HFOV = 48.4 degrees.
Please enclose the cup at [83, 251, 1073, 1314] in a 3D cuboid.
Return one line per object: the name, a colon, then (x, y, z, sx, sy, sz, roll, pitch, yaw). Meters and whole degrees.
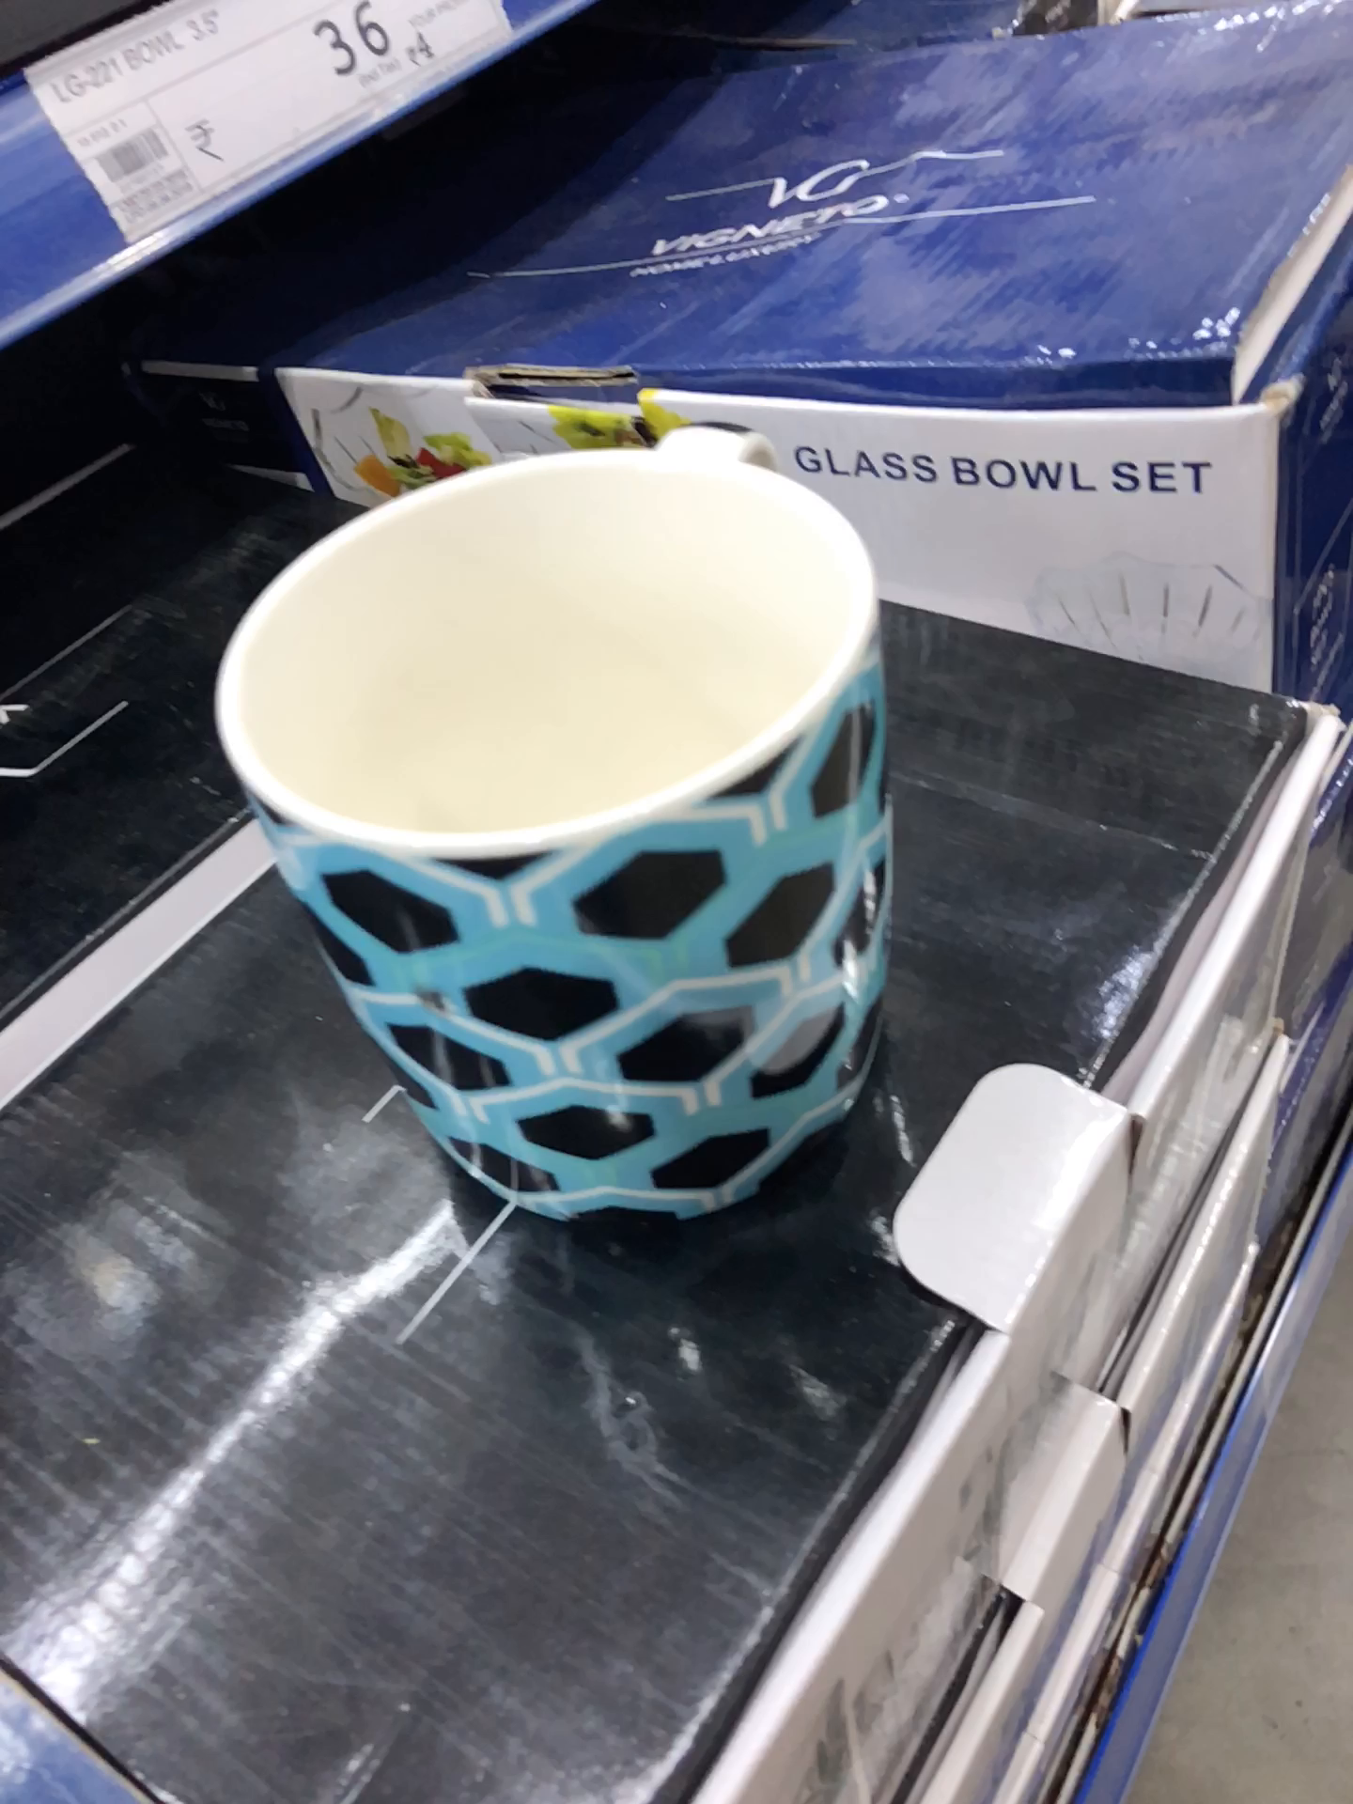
cup: (0.002, -0.027, 0.232, 0.090, 0.090, 0.130, 9, 48, 21)
